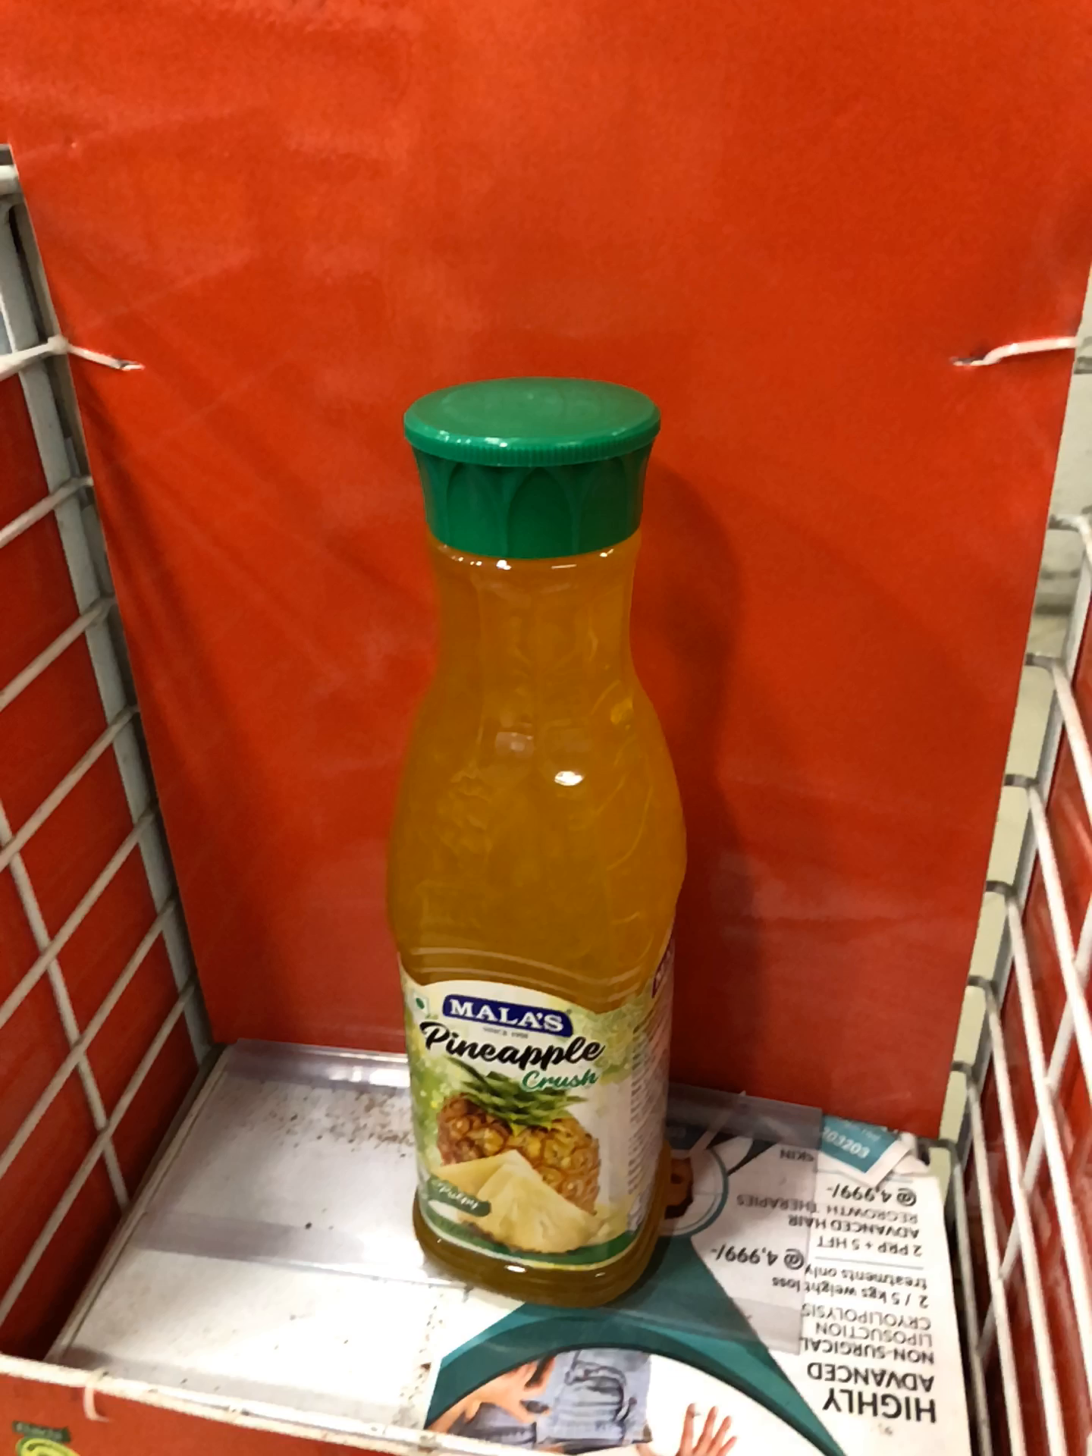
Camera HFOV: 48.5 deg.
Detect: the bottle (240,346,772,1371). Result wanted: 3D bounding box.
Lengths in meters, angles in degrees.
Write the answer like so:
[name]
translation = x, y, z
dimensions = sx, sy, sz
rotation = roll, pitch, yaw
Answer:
[bottle]
translation = 0.001, 0.045, 0.309
dimensions = 0.090, 0.258, 0.070
rotation = 6, 32, 14
